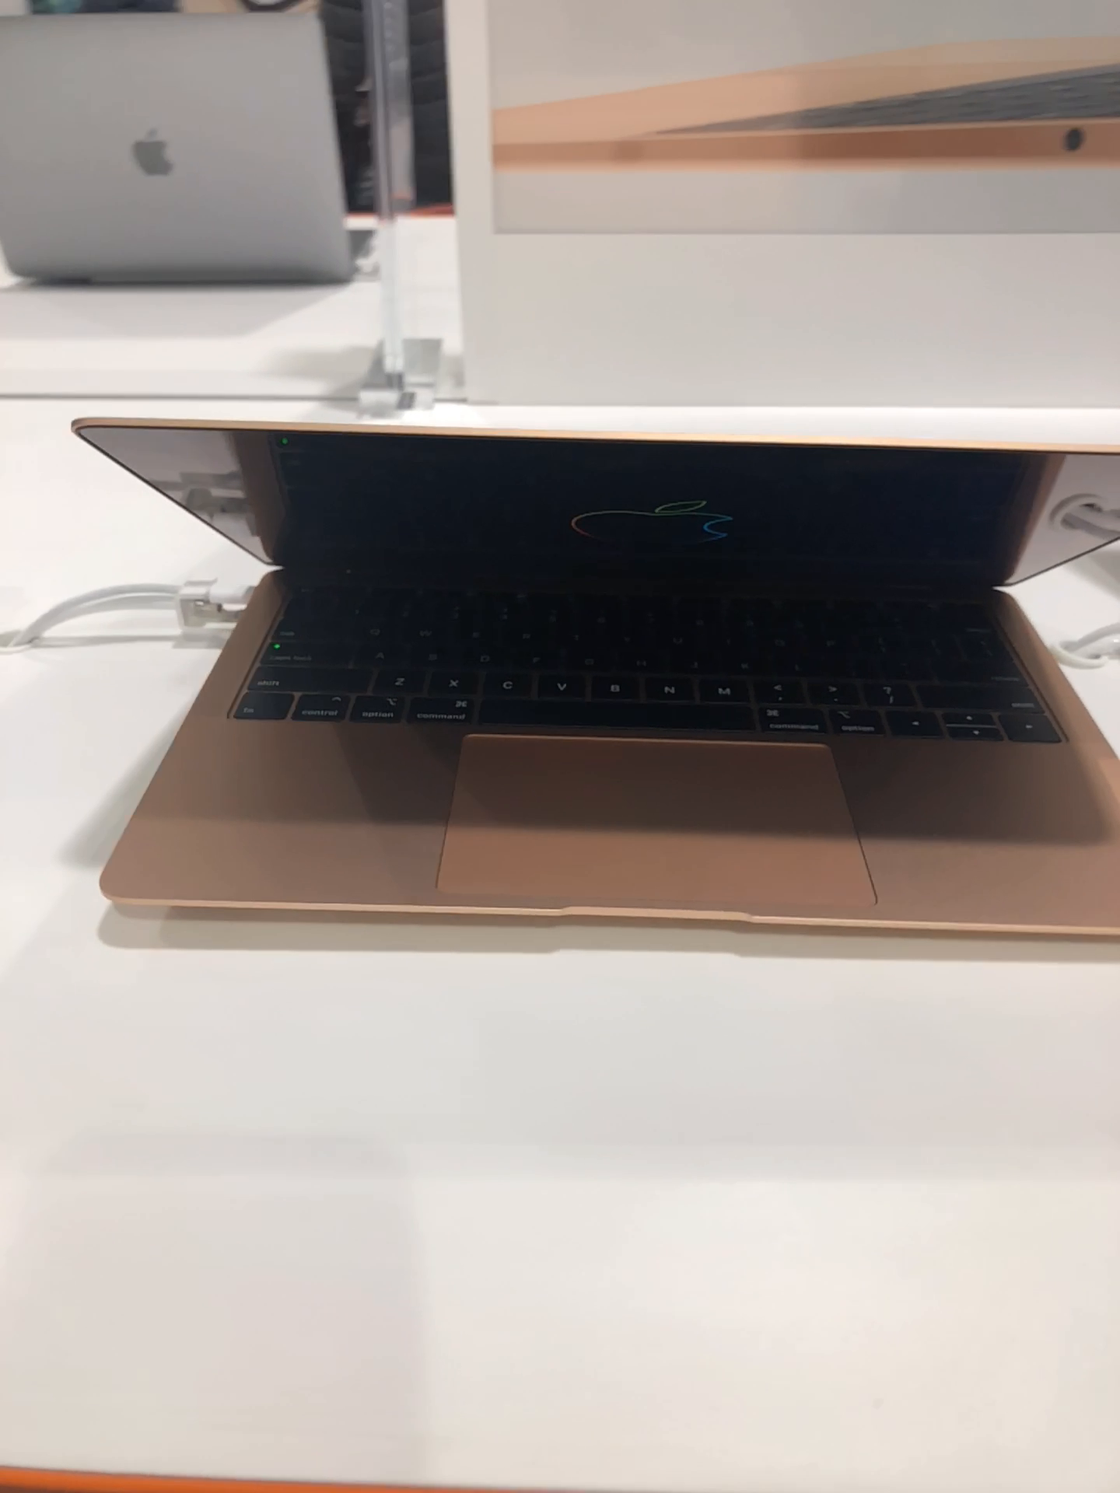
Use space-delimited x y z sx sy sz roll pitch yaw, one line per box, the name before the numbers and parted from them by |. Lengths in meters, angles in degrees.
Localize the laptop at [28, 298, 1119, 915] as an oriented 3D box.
laptop | 0.031 -0.058 0.387 0.295 0.106 0.200 1 32 1
